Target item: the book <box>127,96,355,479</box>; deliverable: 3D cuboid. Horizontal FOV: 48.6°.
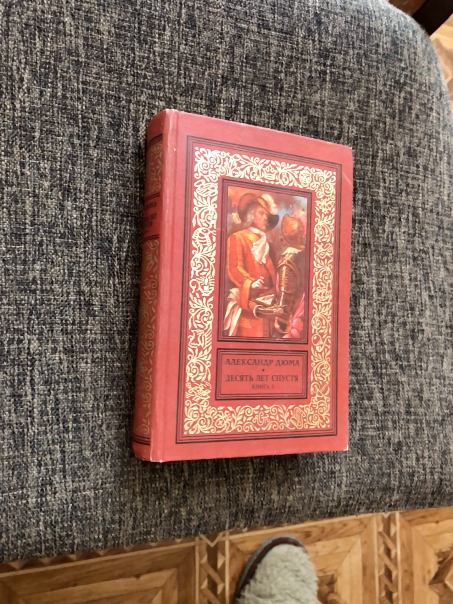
[{"bbox_3d":[0.012,-0.006,0.310,0.131,0.038,0.206,3,85,-21],"label":"book"}]
